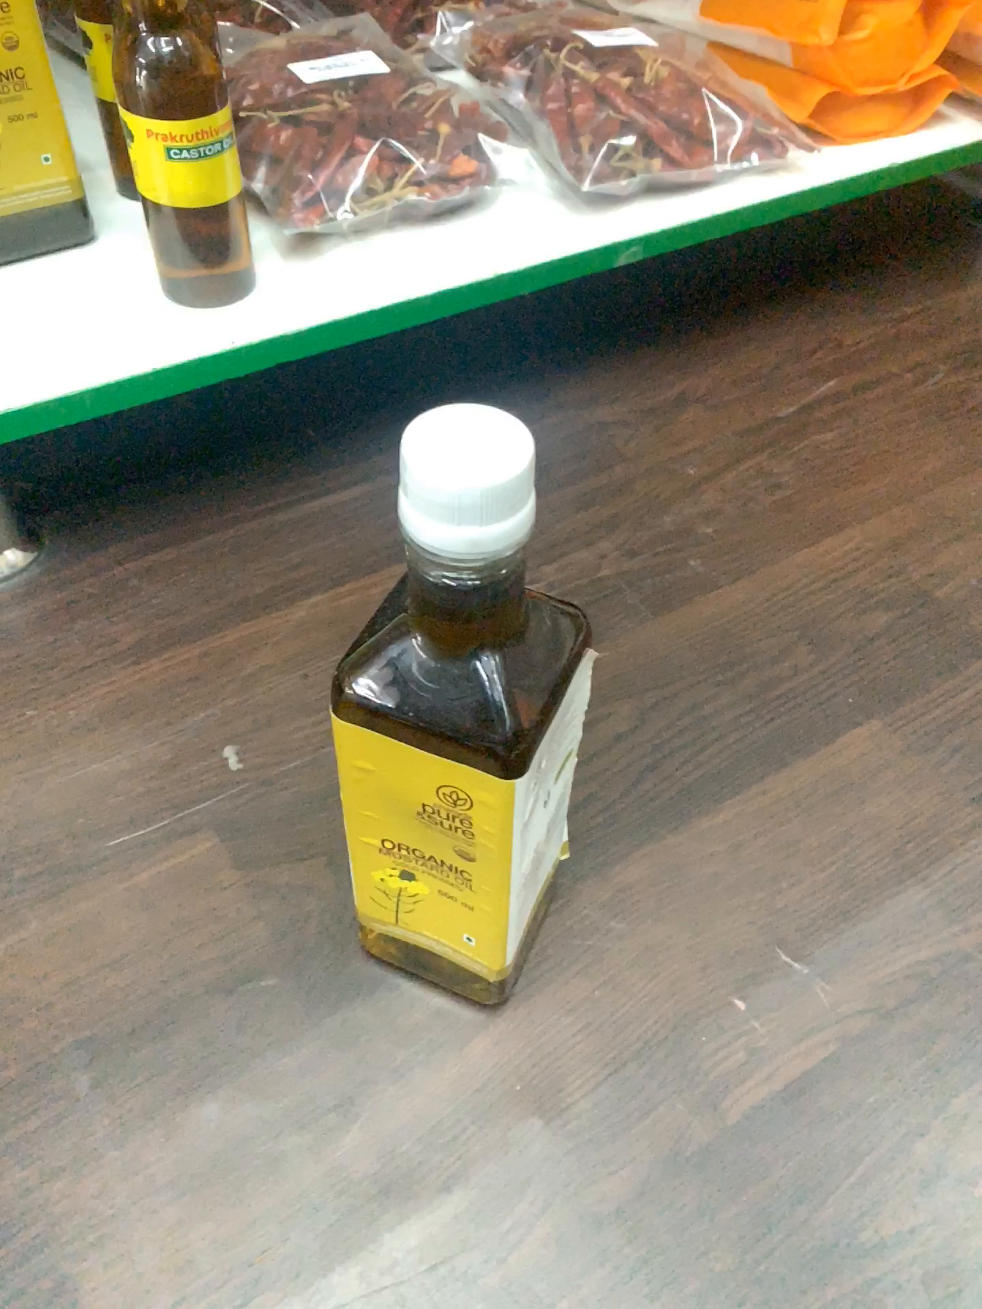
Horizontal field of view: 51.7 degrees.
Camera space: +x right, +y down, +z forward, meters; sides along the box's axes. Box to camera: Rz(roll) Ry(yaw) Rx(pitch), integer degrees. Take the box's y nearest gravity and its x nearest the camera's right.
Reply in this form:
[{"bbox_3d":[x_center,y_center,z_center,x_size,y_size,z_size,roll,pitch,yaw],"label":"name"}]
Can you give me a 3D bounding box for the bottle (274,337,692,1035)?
[{"bbox_3d":[-0.003,0.026,0.291,0.070,0.209,0.060,19,49,14],"label":"bottle"}]
